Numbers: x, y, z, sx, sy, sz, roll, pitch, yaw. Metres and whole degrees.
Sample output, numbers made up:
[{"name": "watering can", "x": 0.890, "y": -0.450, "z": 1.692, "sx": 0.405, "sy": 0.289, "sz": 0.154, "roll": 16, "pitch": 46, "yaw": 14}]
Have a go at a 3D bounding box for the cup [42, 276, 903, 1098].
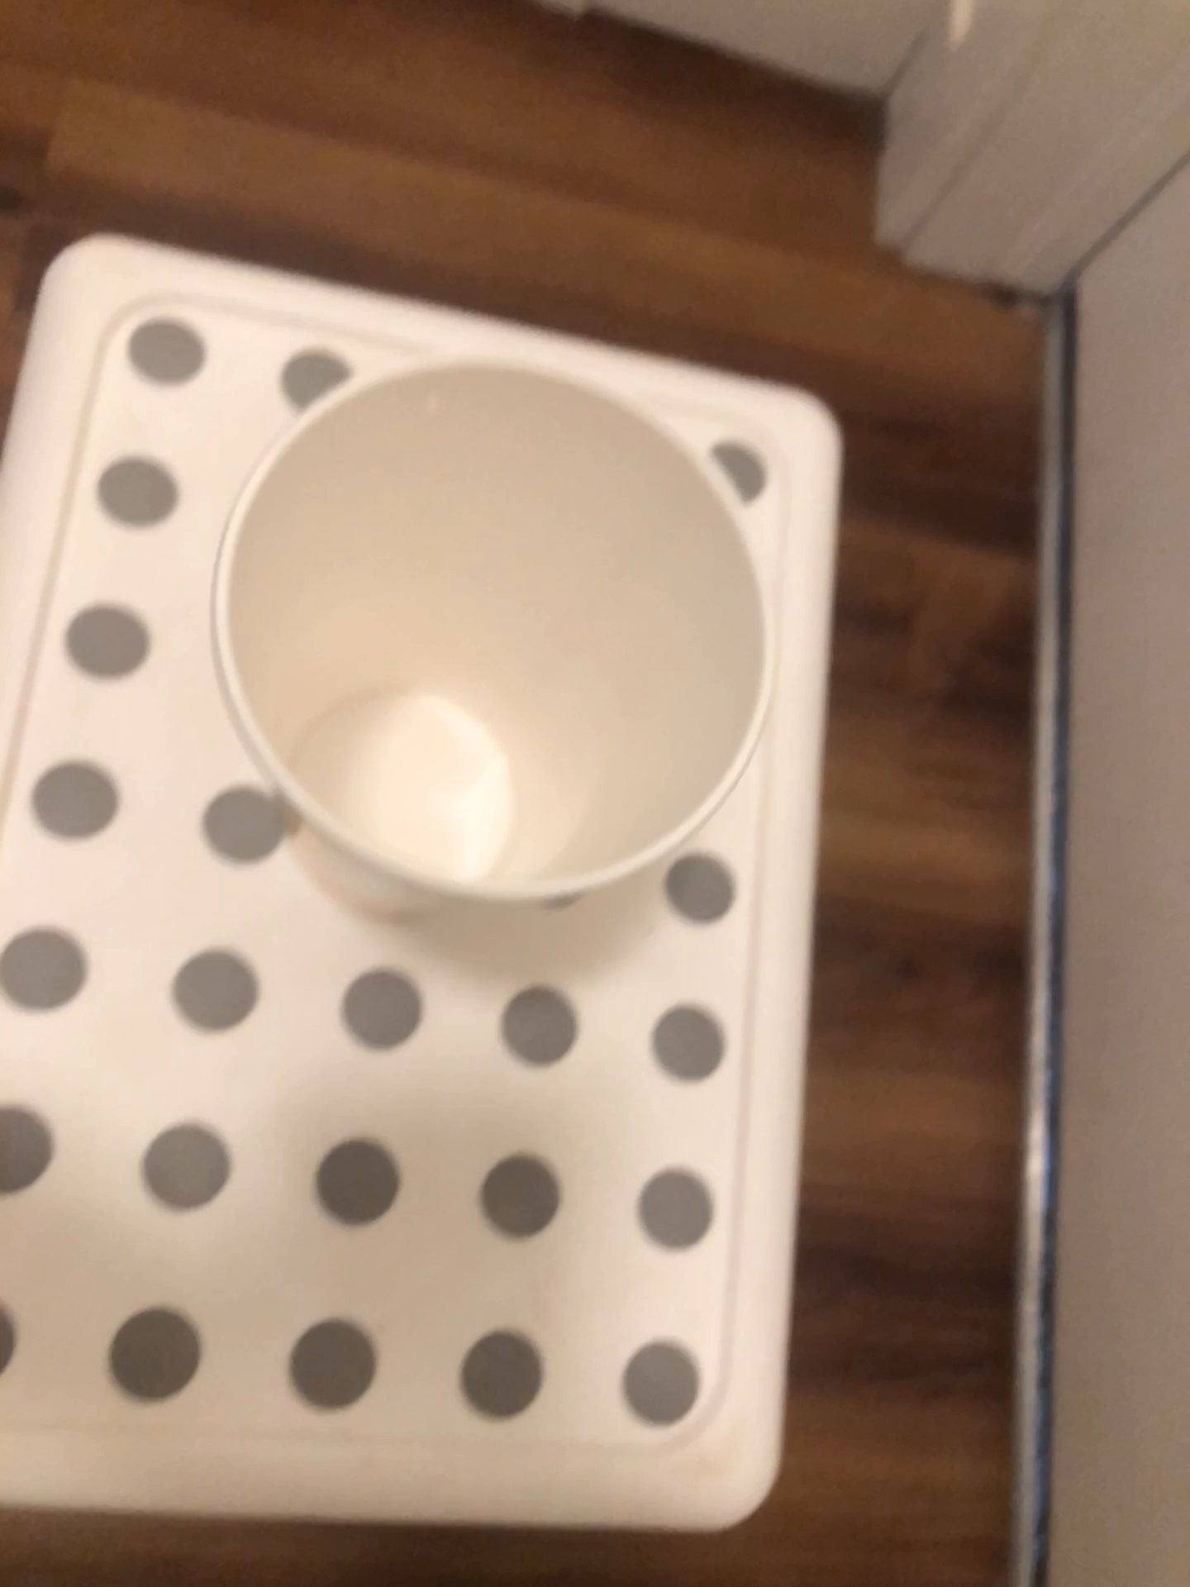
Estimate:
[{"name": "cup", "x": -0.033, "y": -0.006, "z": 0.283, "sx": 0.099, "sy": 0.155, "sz": 0.100, "roll": 3, "pitch": 77, "yaw": -13}]
